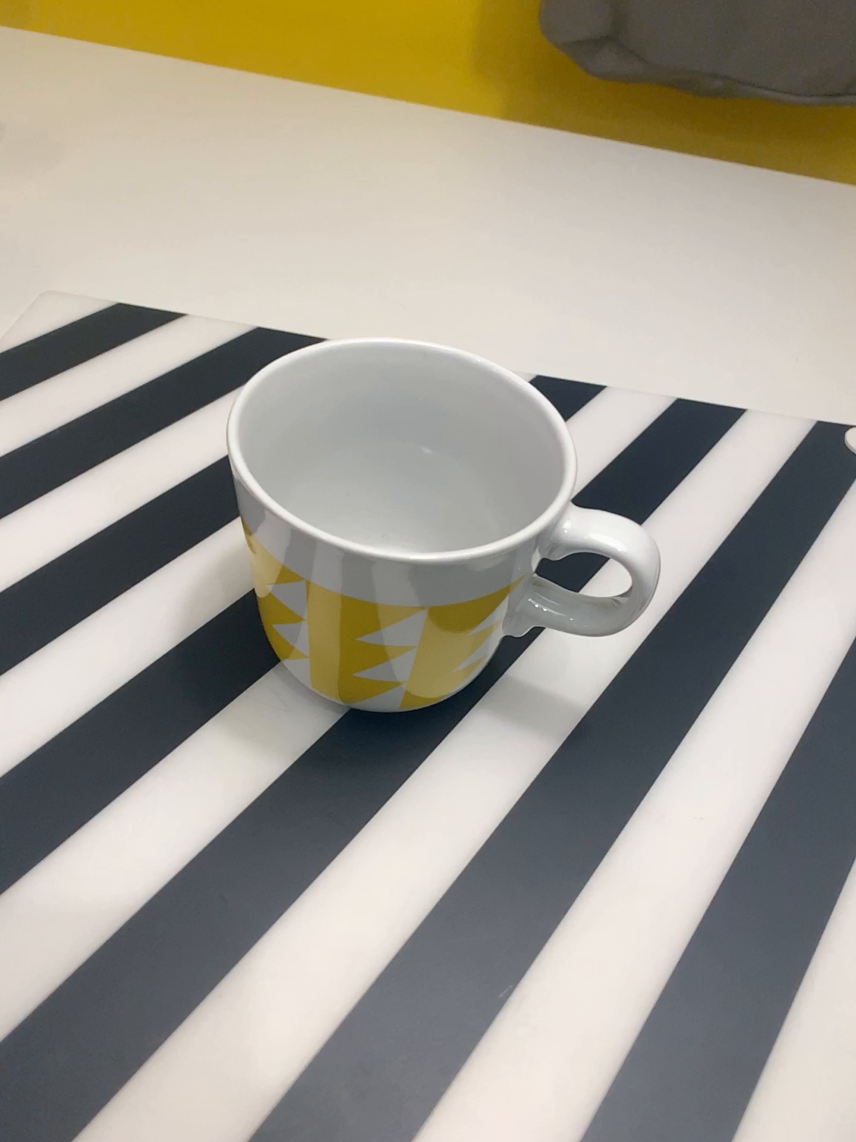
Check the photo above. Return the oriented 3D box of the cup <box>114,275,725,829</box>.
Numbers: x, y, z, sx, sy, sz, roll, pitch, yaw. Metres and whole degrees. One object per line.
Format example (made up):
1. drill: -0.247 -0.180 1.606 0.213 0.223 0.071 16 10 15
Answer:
1. cup: -0.001 -0.008 0.210 0.110 0.070 0.070 21 47 11
